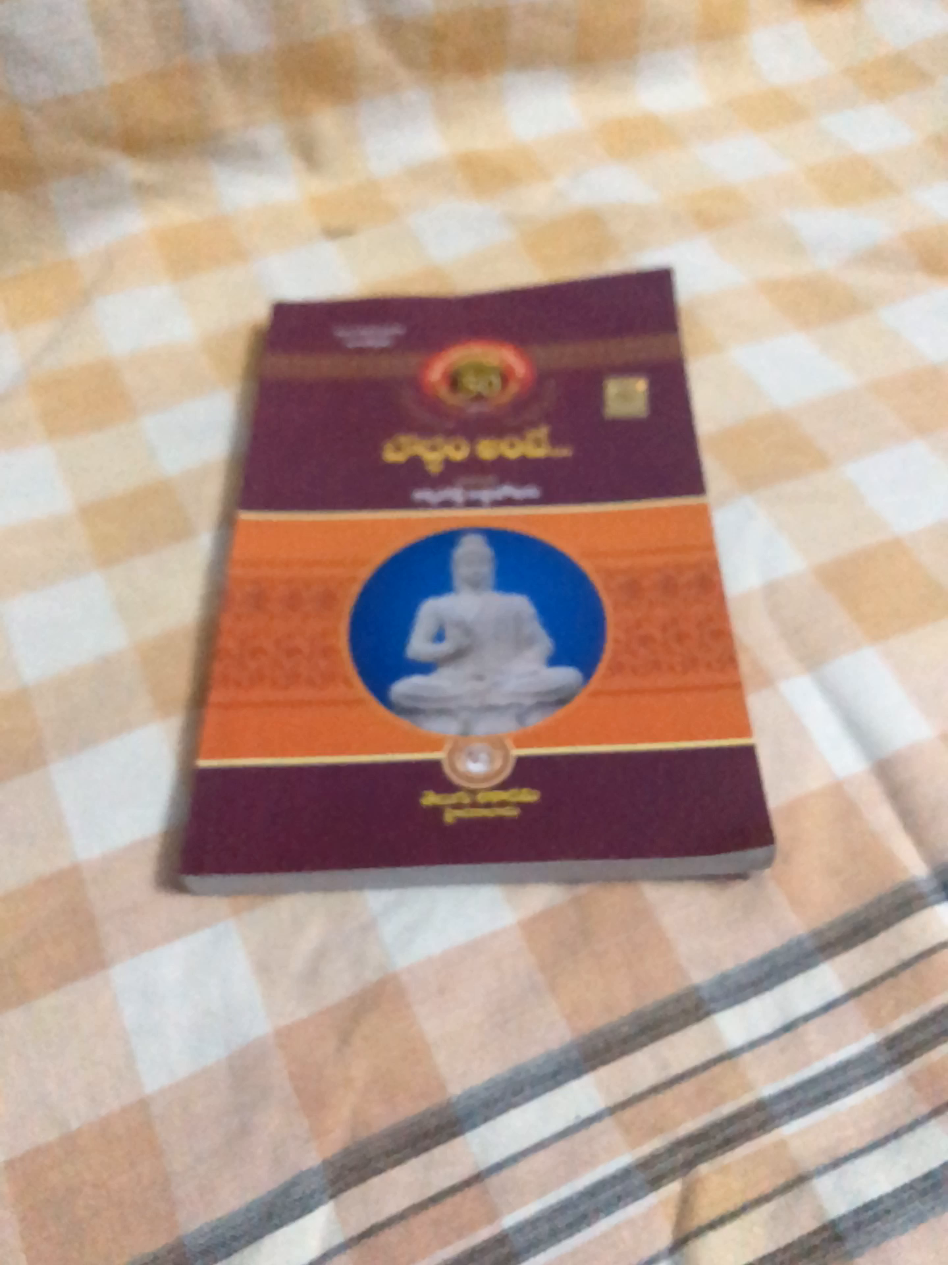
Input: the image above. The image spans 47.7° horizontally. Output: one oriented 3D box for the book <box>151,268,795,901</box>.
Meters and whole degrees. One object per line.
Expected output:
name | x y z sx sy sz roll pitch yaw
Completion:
book | -0.001 -0.034 0.345 0.160 0.020 0.241 0 55 0
